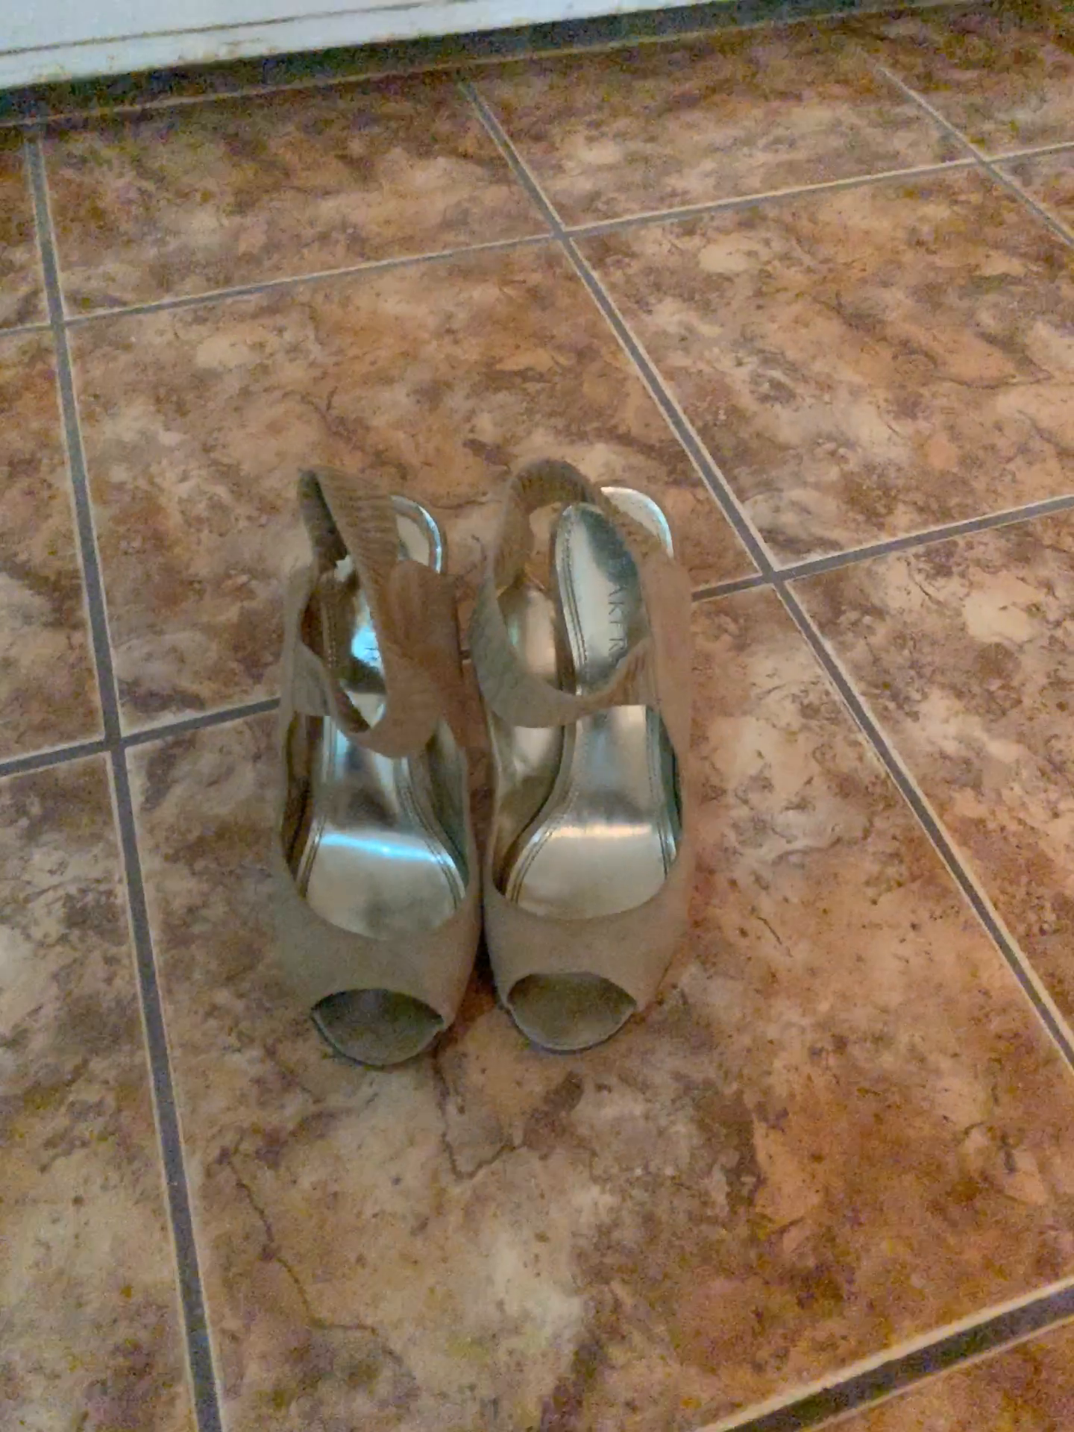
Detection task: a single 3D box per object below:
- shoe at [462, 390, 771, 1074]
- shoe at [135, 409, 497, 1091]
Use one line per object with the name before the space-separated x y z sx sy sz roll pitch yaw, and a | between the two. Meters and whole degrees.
shoe | 0.024 0.005 0.408 0.081 0.150 0.205 2 53 1
shoe | -0.063 0.010 0.406 0.081 0.140 0.210 2 53 1
